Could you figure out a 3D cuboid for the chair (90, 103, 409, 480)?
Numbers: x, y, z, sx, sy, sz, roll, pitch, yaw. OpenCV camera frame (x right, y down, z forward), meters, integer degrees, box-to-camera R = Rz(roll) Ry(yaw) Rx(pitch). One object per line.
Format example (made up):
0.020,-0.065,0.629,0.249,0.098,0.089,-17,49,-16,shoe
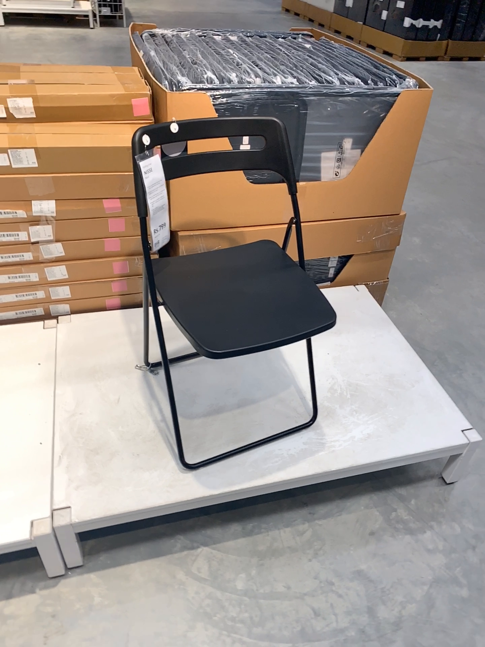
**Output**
-0.029,-0.086,1.149,0.460,0.657,0.451,-14,43,-22,chair
